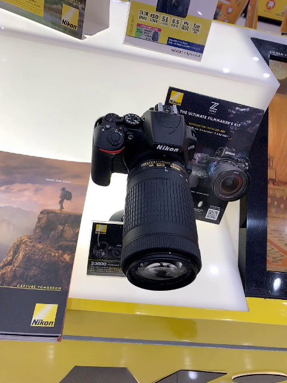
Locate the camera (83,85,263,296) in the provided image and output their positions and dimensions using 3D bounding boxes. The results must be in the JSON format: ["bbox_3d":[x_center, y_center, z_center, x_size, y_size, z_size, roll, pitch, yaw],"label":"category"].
[{"bbox_3d":[0.010,-0.007,0.292,0.120,0.100,0.181,5,46,-10],"label":"camera"}]
